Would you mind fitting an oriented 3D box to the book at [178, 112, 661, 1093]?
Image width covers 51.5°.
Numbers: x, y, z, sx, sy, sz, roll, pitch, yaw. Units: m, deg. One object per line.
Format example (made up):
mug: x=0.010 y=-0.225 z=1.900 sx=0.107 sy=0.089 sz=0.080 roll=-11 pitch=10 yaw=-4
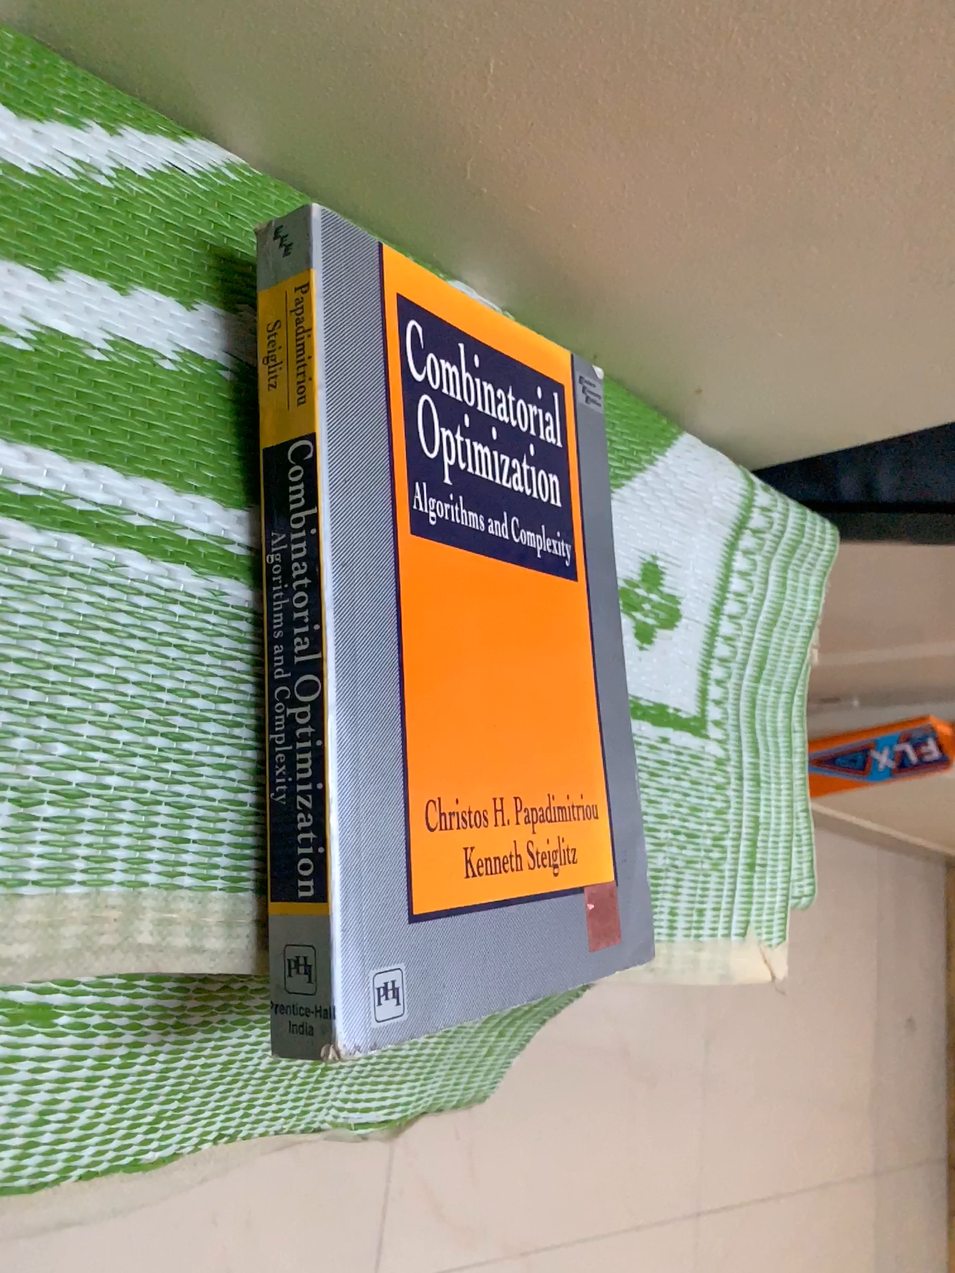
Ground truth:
book: x=-0.014 y=-0.010 z=0.341 sx=0.171 sy=0.040 sz=0.270 roll=11 pitch=68 yaw=-53
